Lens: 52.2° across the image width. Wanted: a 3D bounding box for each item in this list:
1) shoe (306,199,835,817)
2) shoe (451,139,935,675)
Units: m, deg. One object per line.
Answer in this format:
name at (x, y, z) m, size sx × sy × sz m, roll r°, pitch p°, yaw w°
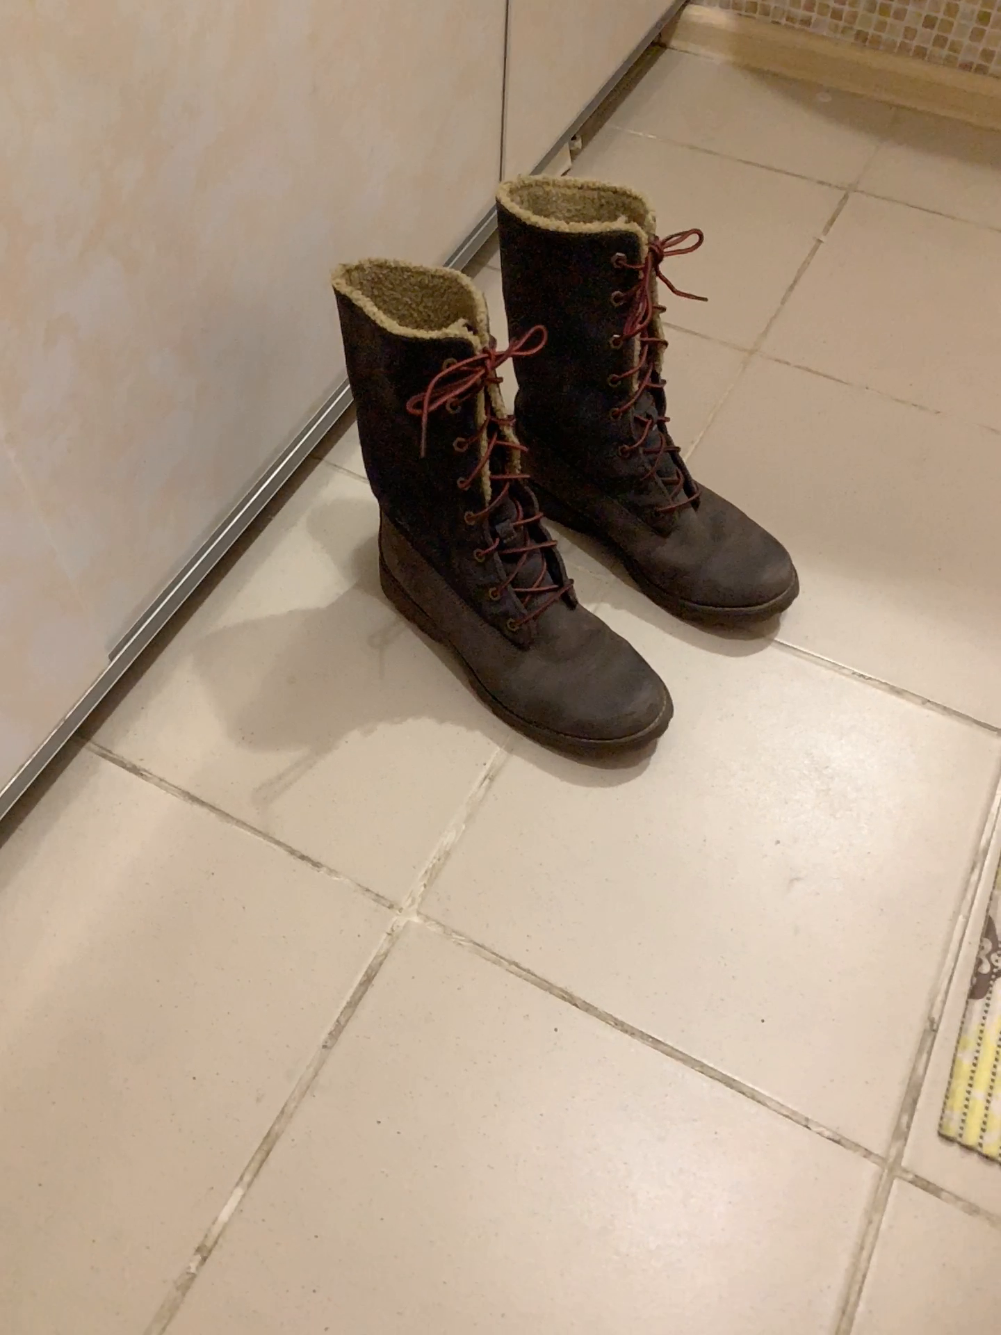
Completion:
shoe at (0.020, -0.092, 0.622) m, size 0.100 × 0.249 × 0.280 m, roll -36°, pitch 63°, yaw -27°
shoe at (0.106, -0.170, 0.711) m, size 0.280 × 0.249 × 0.100 m, roll 38°, pitch 66°, yaw 19°
